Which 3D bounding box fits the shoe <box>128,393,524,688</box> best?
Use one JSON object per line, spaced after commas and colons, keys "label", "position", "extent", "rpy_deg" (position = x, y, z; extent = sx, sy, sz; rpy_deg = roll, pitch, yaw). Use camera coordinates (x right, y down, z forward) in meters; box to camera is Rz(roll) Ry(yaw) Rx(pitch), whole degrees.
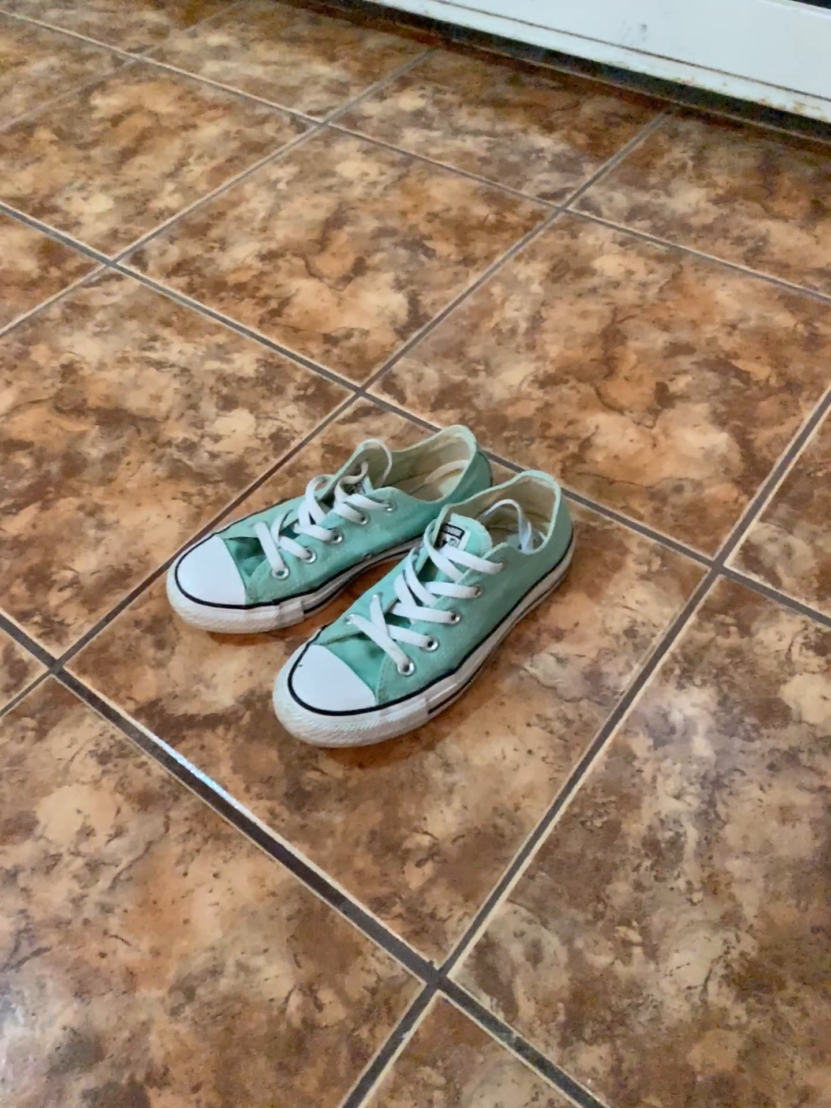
{"label": "shoe", "position": [-0.058, -0.013, 0.596], "extent": [0.243, 0.094, 0.098], "rpy_deg": [-20, 54, -12]}

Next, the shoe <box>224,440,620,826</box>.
{"label": "shoe", "position": [0.012, 0.042, 0.547], "extent": [0.244, 0.084, 0.095], "rpy_deg": [-38, 60, -24]}
